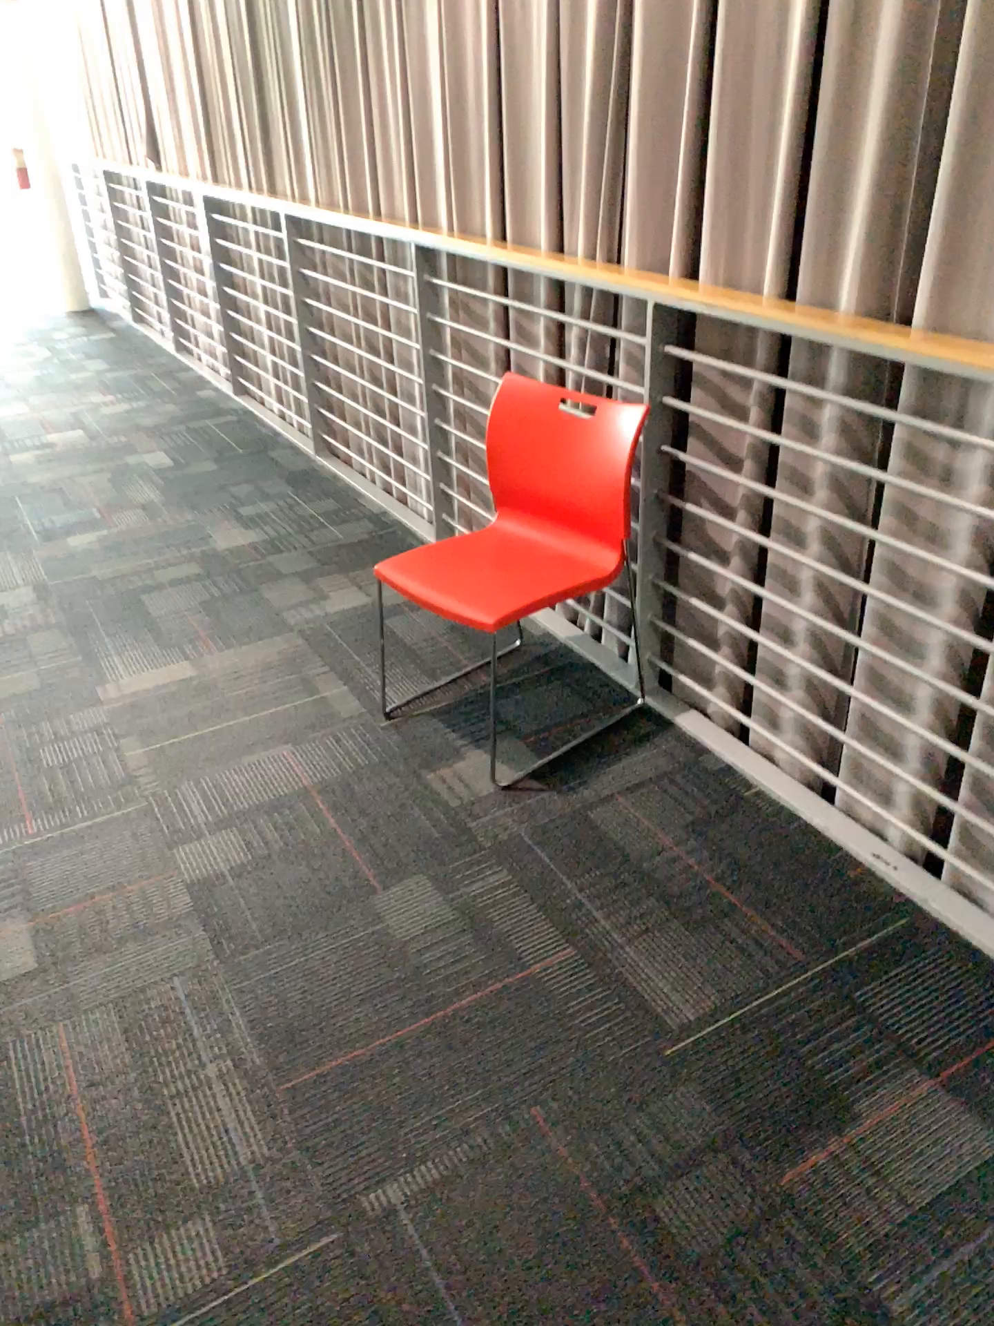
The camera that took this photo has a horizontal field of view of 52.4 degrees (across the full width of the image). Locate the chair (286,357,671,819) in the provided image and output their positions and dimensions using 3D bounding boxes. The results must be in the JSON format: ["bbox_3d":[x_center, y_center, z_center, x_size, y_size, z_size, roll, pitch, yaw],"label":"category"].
[{"bbox_3d":[-0.019,-0.231,2.596,0.661,0.855,0.633,-27,38,-32],"label":"chair"}]
